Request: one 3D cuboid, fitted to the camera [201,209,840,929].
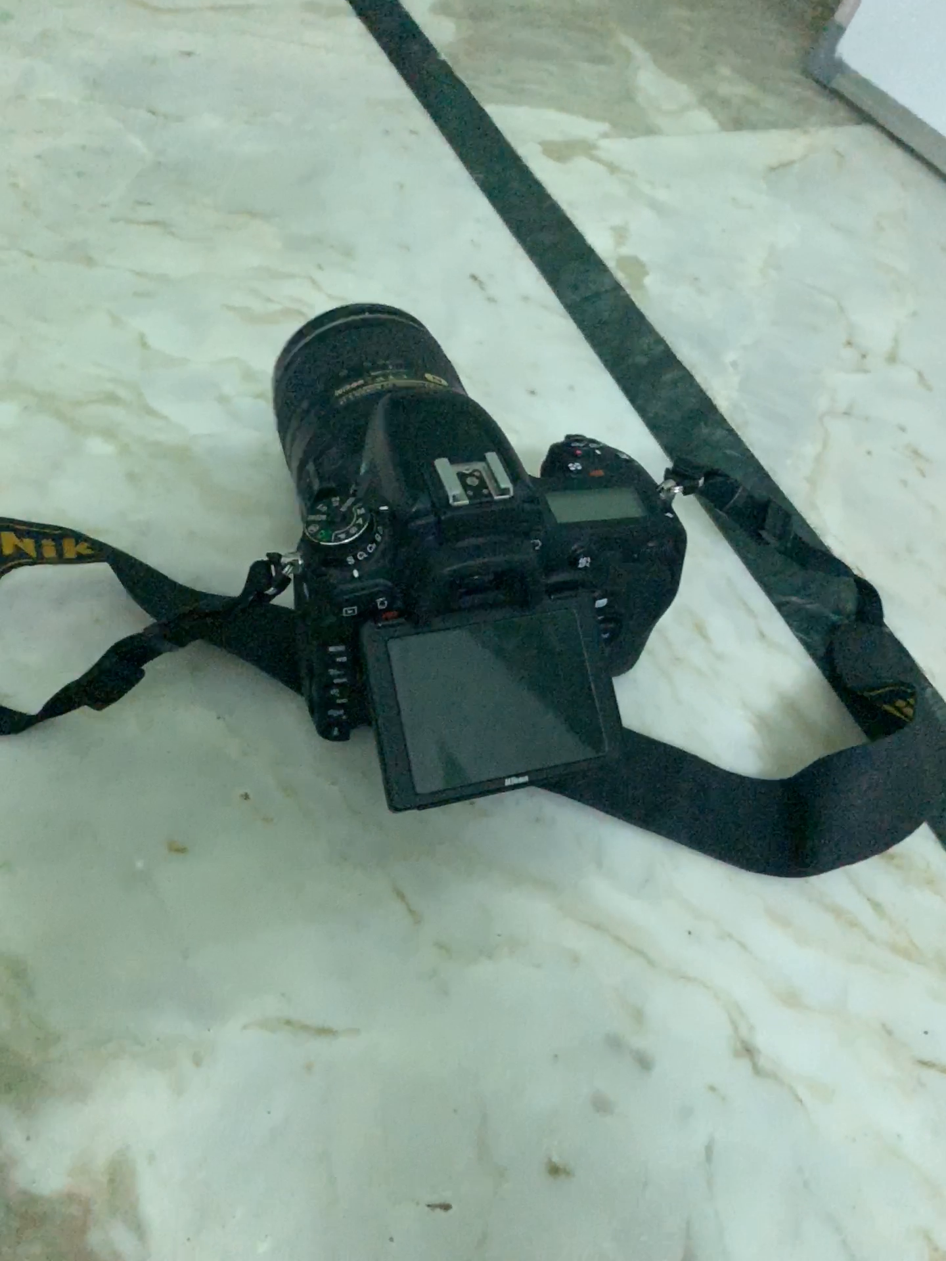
[{"bbox_3d":[-0.008,-0.045,0.372,0.147,0.100,0.259,-9,52,-15],"label":"camera"}]
